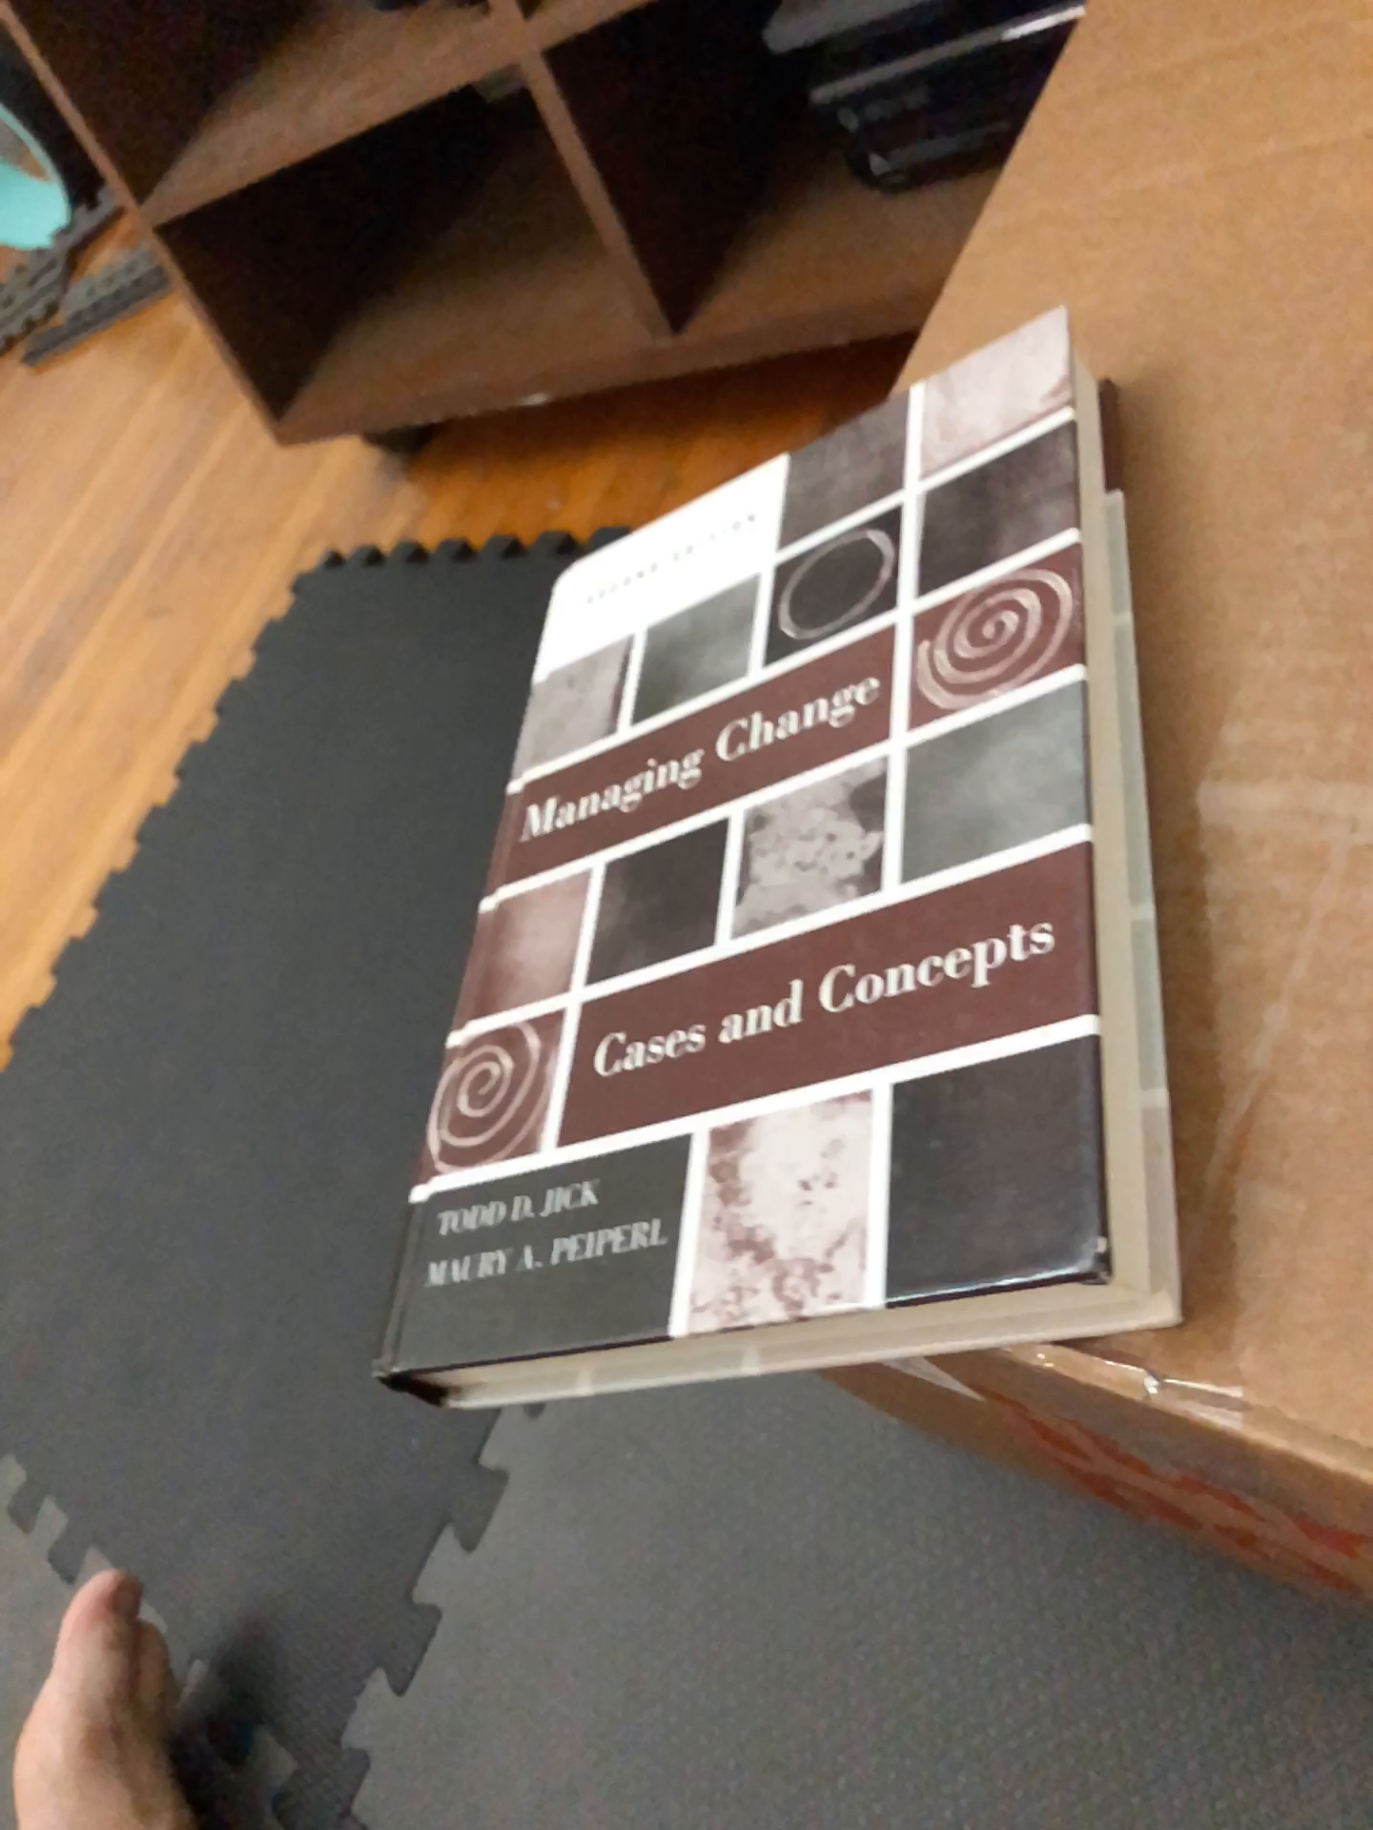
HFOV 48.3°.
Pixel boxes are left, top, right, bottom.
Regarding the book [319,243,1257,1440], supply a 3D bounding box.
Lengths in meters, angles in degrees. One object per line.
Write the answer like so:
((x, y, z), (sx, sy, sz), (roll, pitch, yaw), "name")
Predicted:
((0.019, -0.021, 0.342), (0.180, 0.030, 0.251), (-18, 49, 33), "book")
